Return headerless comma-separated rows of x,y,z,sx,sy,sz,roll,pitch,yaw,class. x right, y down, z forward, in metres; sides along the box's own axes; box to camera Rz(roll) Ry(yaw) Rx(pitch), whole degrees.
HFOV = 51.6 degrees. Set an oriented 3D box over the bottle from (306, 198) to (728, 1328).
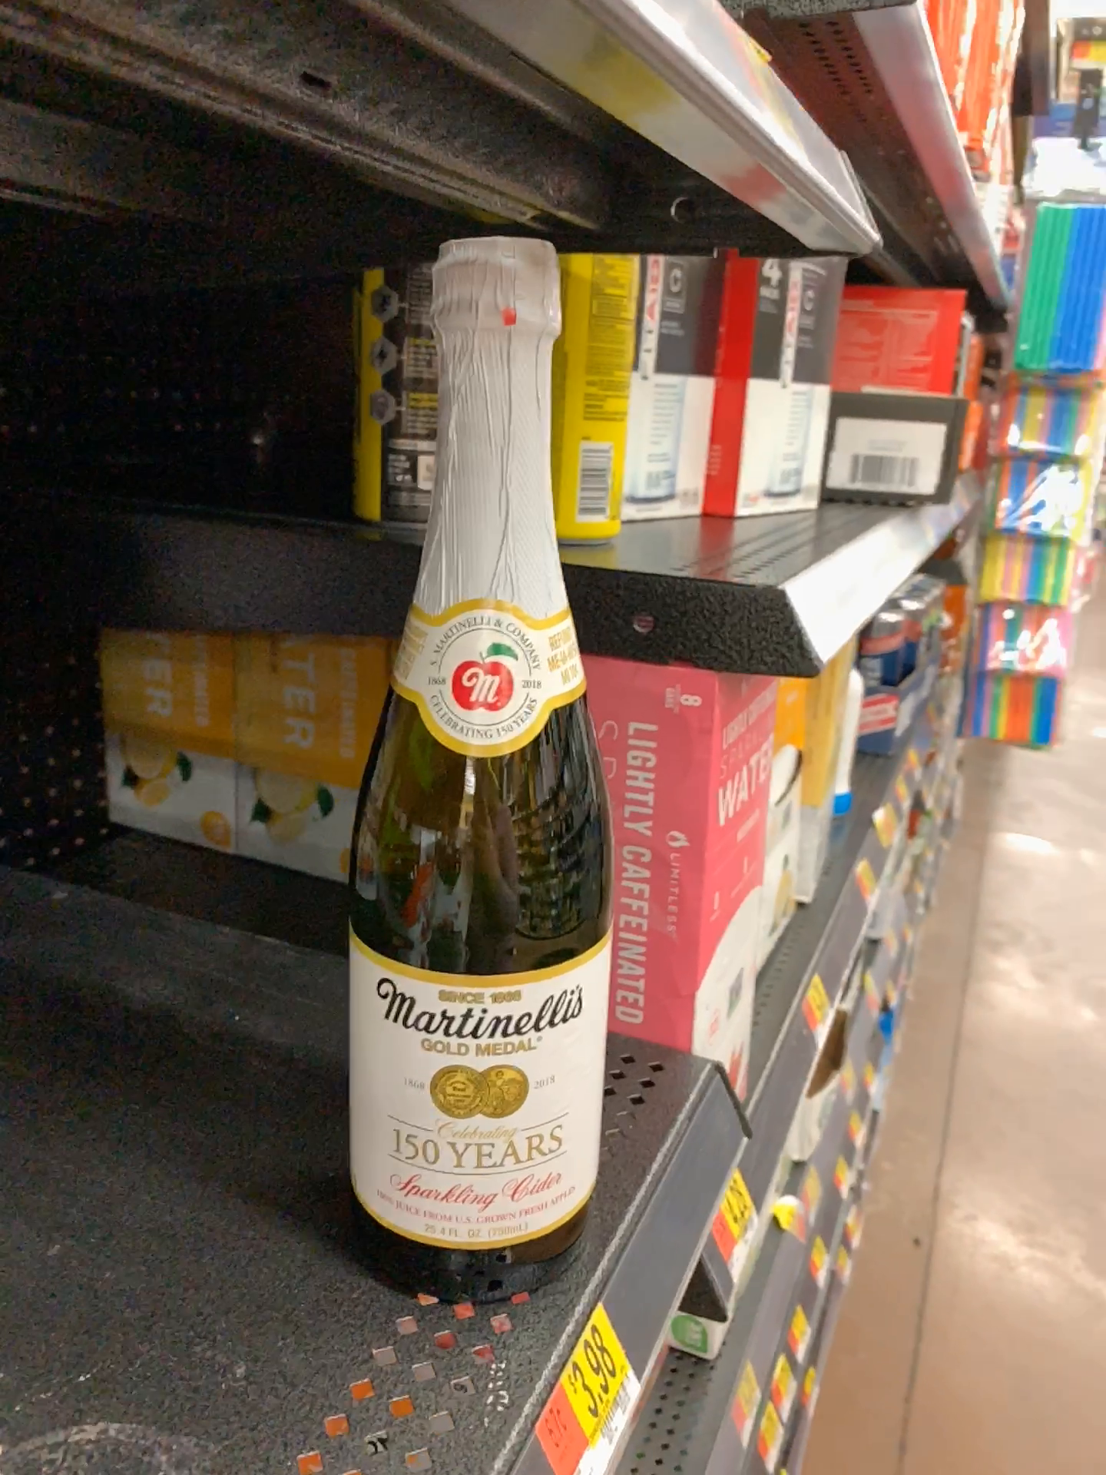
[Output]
-0.017,0.015,0.336,0.089,0.299,0.090,4,17,-1,bottle
